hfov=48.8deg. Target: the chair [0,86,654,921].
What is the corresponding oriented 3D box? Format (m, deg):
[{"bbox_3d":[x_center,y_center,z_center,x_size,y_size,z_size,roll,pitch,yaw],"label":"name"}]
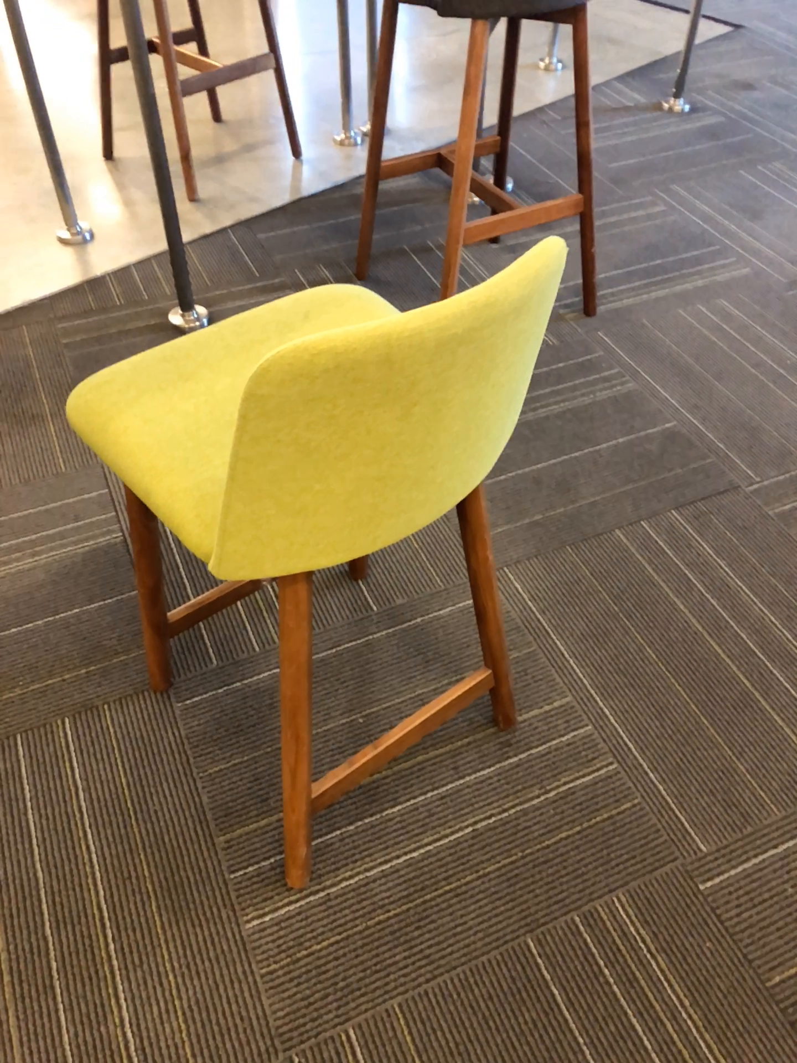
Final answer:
[{"bbox_3d":[-0.104,-0.006,1.169,0.461,0.876,0.512,-29,52,-27],"label":"chair"}]
